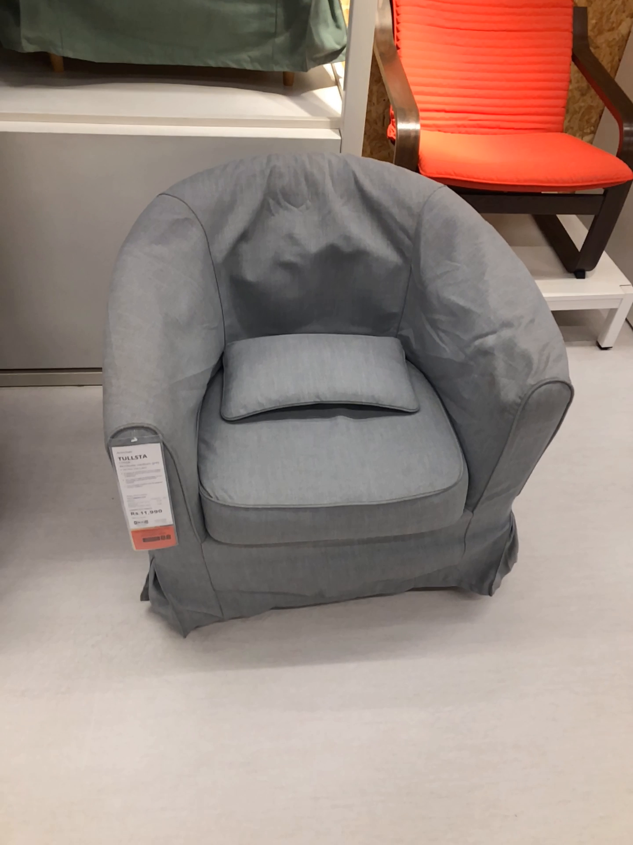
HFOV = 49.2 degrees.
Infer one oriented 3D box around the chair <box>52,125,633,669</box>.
[{"bbox_3d":[0.026,-0.068,1.447,0.870,0.795,0.724,-4,45,-9],"label":"chair"}]
